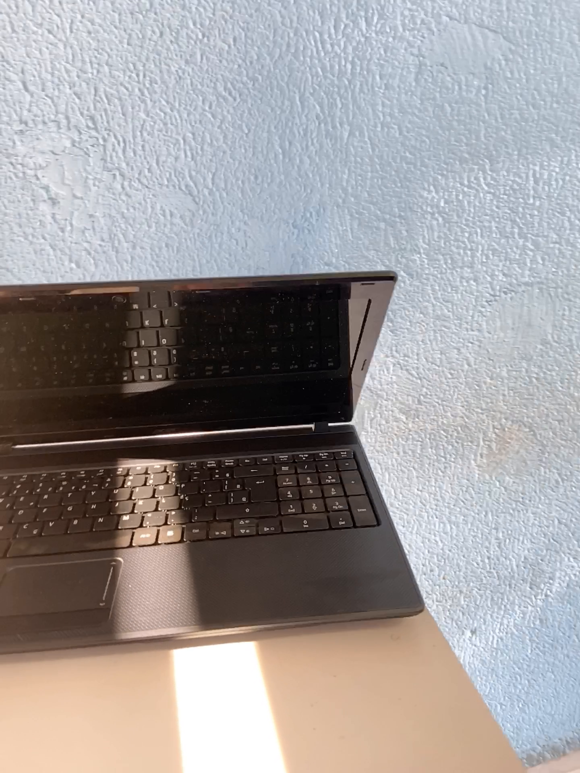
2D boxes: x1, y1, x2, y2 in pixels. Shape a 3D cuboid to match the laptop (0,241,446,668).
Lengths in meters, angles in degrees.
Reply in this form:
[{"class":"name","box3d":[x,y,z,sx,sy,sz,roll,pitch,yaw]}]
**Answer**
[{"class":"laptop","box3d":[-0.114,0.019,0.449,0.376,0.191,0.249,-4,24,-4]}]
